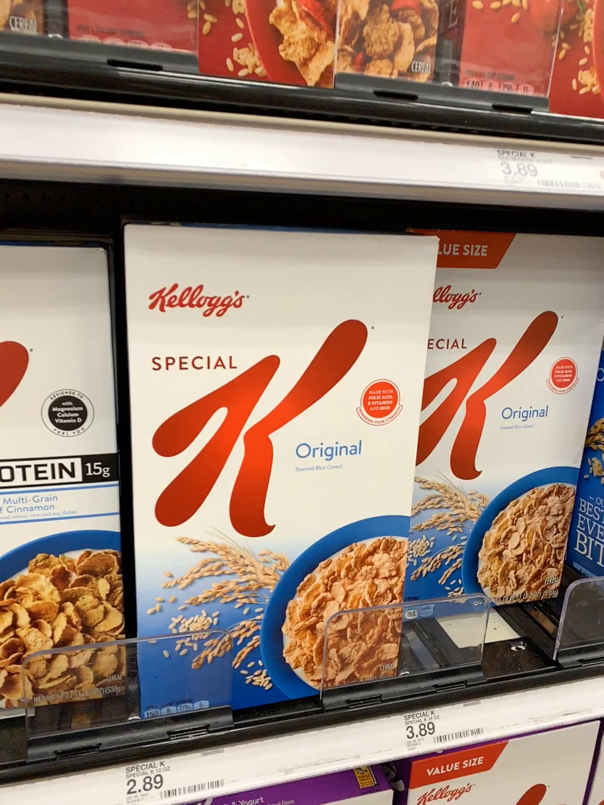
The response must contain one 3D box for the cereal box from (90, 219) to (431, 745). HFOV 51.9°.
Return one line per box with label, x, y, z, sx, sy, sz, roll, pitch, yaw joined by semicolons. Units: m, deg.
cereal box;-0.031;0.050;0.406;0.190;0.319;0.060;-2;16;-17
